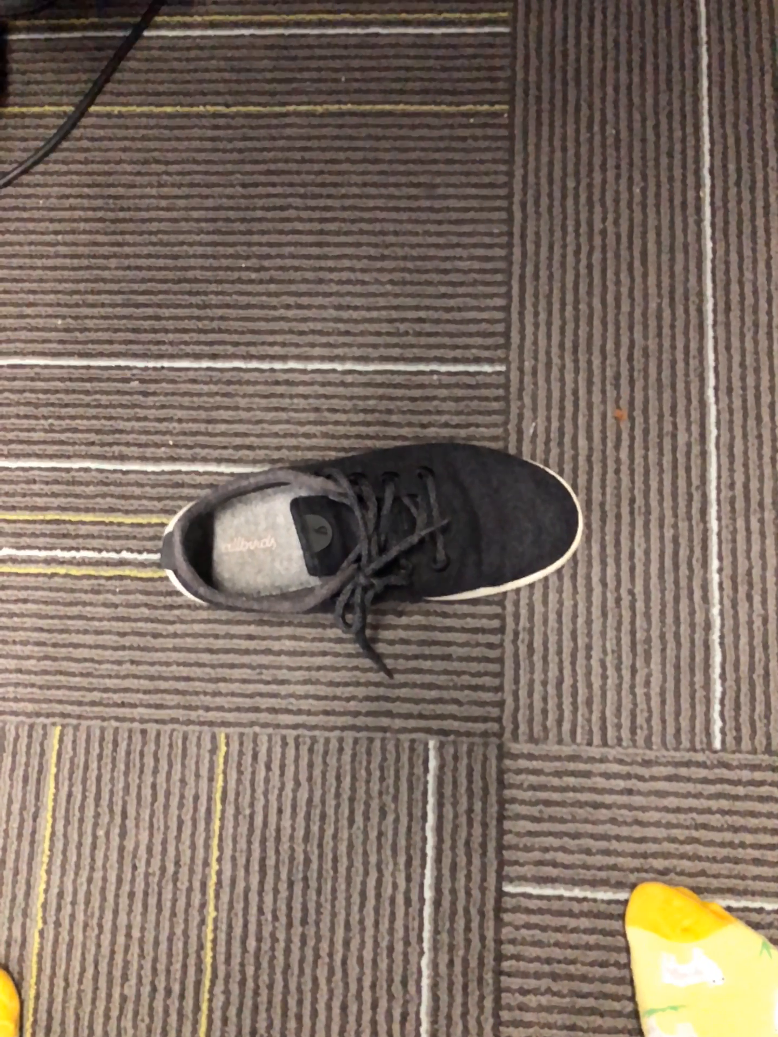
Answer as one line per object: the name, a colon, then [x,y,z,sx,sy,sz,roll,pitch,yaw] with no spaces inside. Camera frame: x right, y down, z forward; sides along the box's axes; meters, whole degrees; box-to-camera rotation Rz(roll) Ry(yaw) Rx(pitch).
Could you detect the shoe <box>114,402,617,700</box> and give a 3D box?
shoe: [-0.017,0.023,0.533,0.280,0.060,0.140,-7,80,3]
